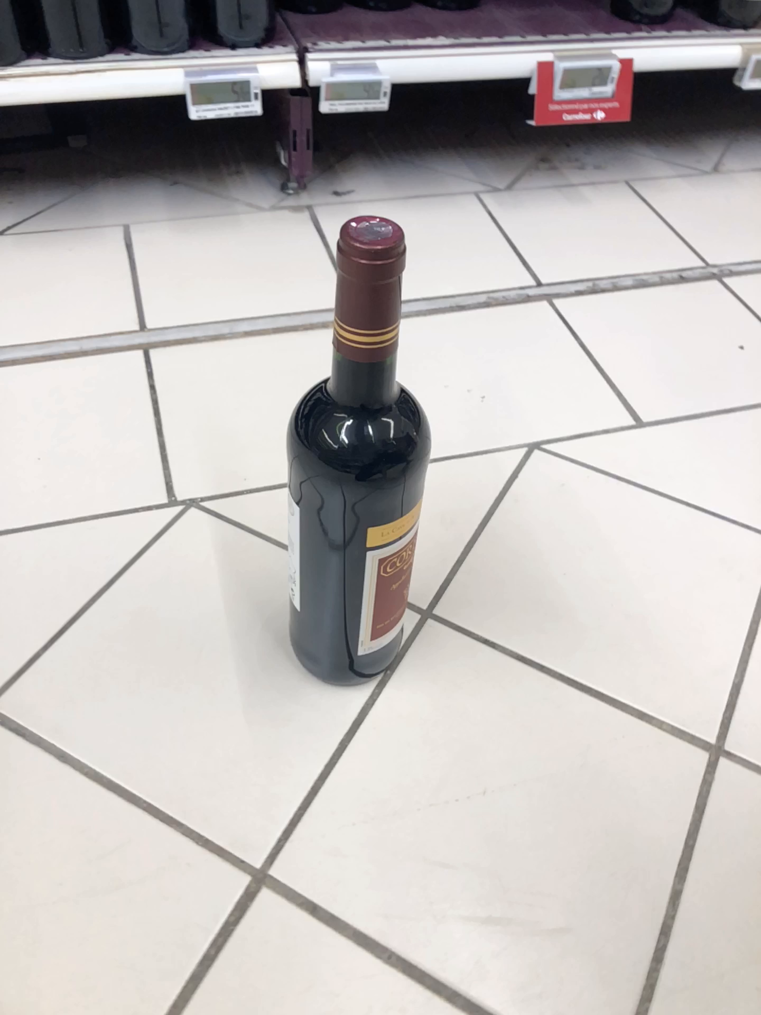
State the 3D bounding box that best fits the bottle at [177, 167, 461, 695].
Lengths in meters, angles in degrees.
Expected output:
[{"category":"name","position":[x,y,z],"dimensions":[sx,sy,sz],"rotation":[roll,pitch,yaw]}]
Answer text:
[{"category":"bottle","position":[-0.027,-0.022,0.446],"dimensions":[0.100,0.268,0.101],"rotation":[2,47,-2]}]
